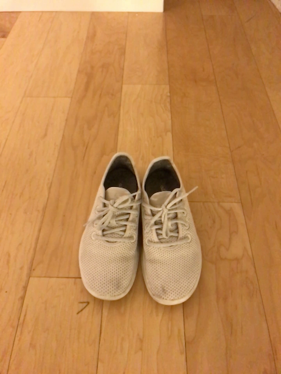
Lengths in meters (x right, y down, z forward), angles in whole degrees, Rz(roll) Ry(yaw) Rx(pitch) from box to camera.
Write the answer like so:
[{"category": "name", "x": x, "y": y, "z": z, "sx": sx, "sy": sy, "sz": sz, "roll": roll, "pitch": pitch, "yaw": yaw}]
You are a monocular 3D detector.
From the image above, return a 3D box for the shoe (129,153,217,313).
[{"category": "shoe", "x": 0.048, "y": 0.066, "z": 0.530, "sx": 0.120, "sy": 0.070, "sz": 0.272, "roll": 1, "pitch": 53, "yaw": 1}]

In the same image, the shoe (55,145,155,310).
[{"category": "shoe", "x": -0.046, "y": 0.056, "z": 0.541, "sx": 0.120, "sy": 0.070, "sz": 0.282, "roll": 5, "pitch": 53, "yaw": 4}]
